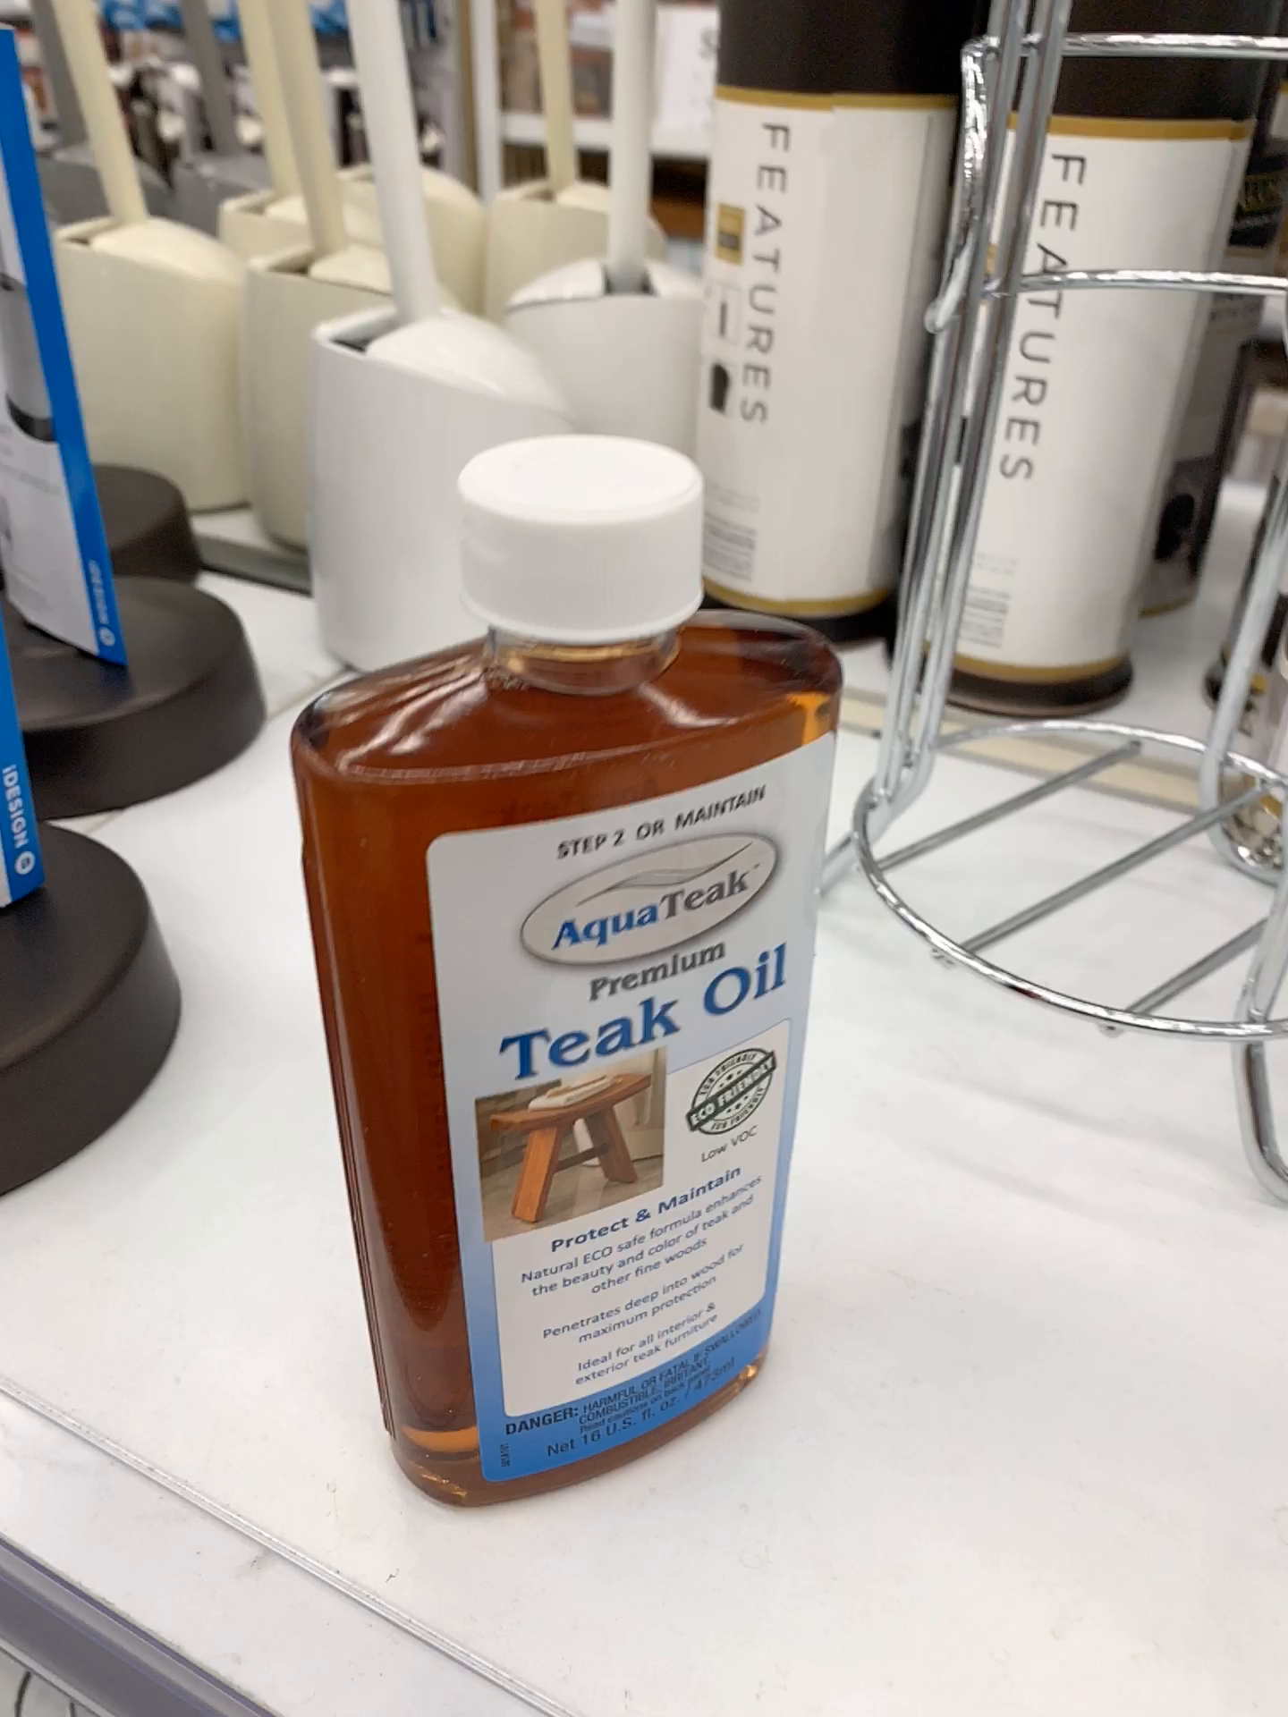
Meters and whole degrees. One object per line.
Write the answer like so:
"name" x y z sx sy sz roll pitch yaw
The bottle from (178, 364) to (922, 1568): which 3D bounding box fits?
"bottle" -0.014 0.030 0.237 0.088 0.207 0.046 -17 38 -24
